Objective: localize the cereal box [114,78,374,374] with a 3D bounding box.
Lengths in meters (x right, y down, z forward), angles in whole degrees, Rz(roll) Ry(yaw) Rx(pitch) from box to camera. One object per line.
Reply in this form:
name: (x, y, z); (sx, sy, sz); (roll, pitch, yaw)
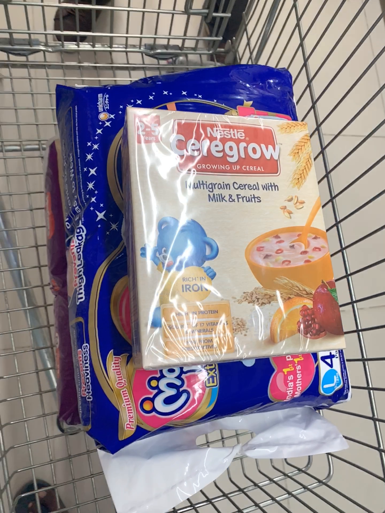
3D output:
cereal box: (0.030, -0.022, 0.288); (0.160, 0.050, 0.190); (-1, 76, -16)
